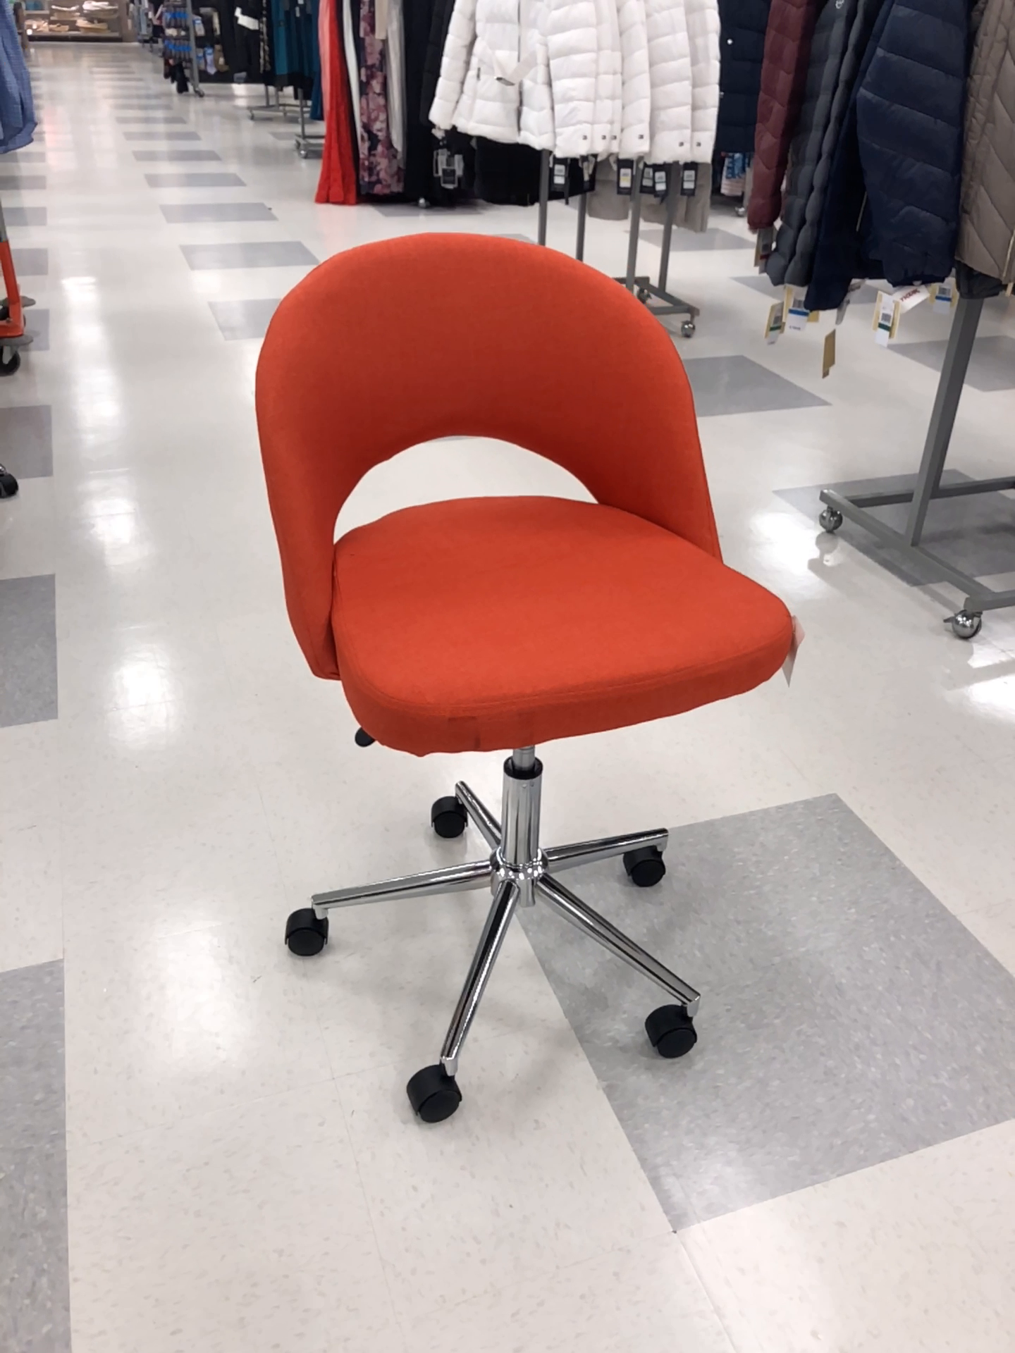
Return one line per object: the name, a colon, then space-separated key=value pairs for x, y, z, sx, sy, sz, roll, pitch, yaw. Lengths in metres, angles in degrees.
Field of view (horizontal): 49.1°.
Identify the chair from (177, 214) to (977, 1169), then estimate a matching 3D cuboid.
chair: x=0.006 y=-0.036 z=1.327 sx=0.600 sy=0.858 sz=0.610 roll=-10 pitch=33 yaw=-19
